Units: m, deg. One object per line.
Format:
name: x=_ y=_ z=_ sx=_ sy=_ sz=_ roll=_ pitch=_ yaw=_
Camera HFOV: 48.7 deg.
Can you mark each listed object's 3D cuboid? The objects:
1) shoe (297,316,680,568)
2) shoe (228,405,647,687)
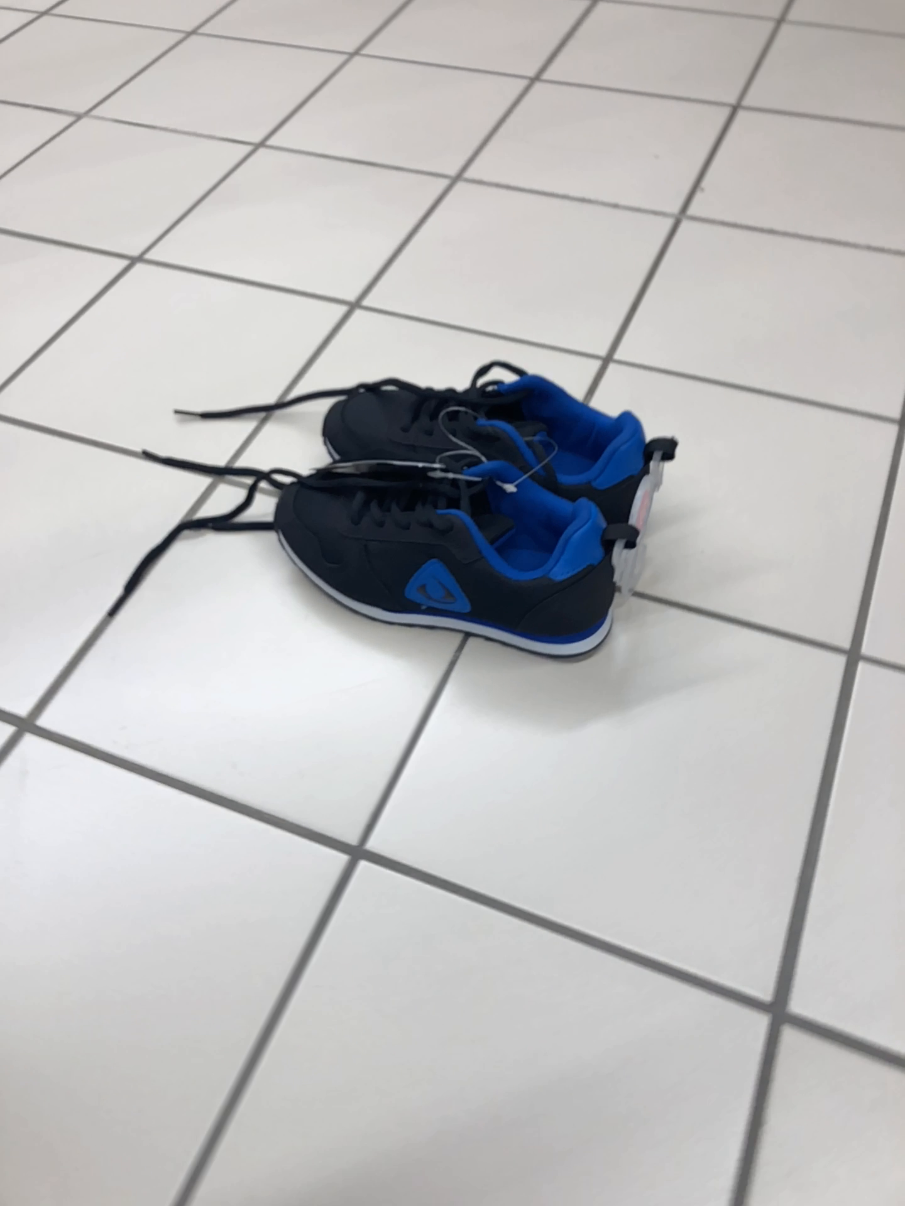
shoe: x=0.022 y=-0.100 z=0.606 sx=0.207 sy=0.082 sz=0.076 roll=15 pitch=53 yaw=15
shoe: x=-0.007 y=-0.034 z=0.556 sx=0.207 sy=0.082 sz=0.076 roll=15 pitch=53 yaw=15
